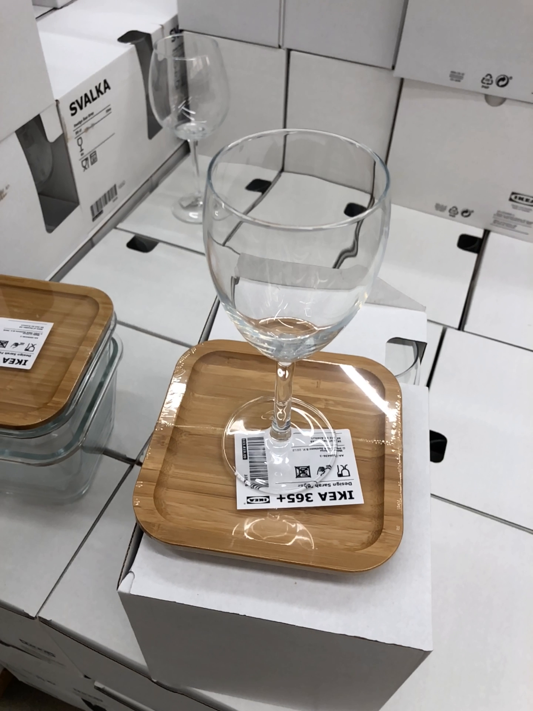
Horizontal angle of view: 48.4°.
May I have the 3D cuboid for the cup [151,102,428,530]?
[{"bbox_3d":[0.010,-0.007,0.279,0.080,0.179,0.080,1,48,-1],"label":"cup"}]
